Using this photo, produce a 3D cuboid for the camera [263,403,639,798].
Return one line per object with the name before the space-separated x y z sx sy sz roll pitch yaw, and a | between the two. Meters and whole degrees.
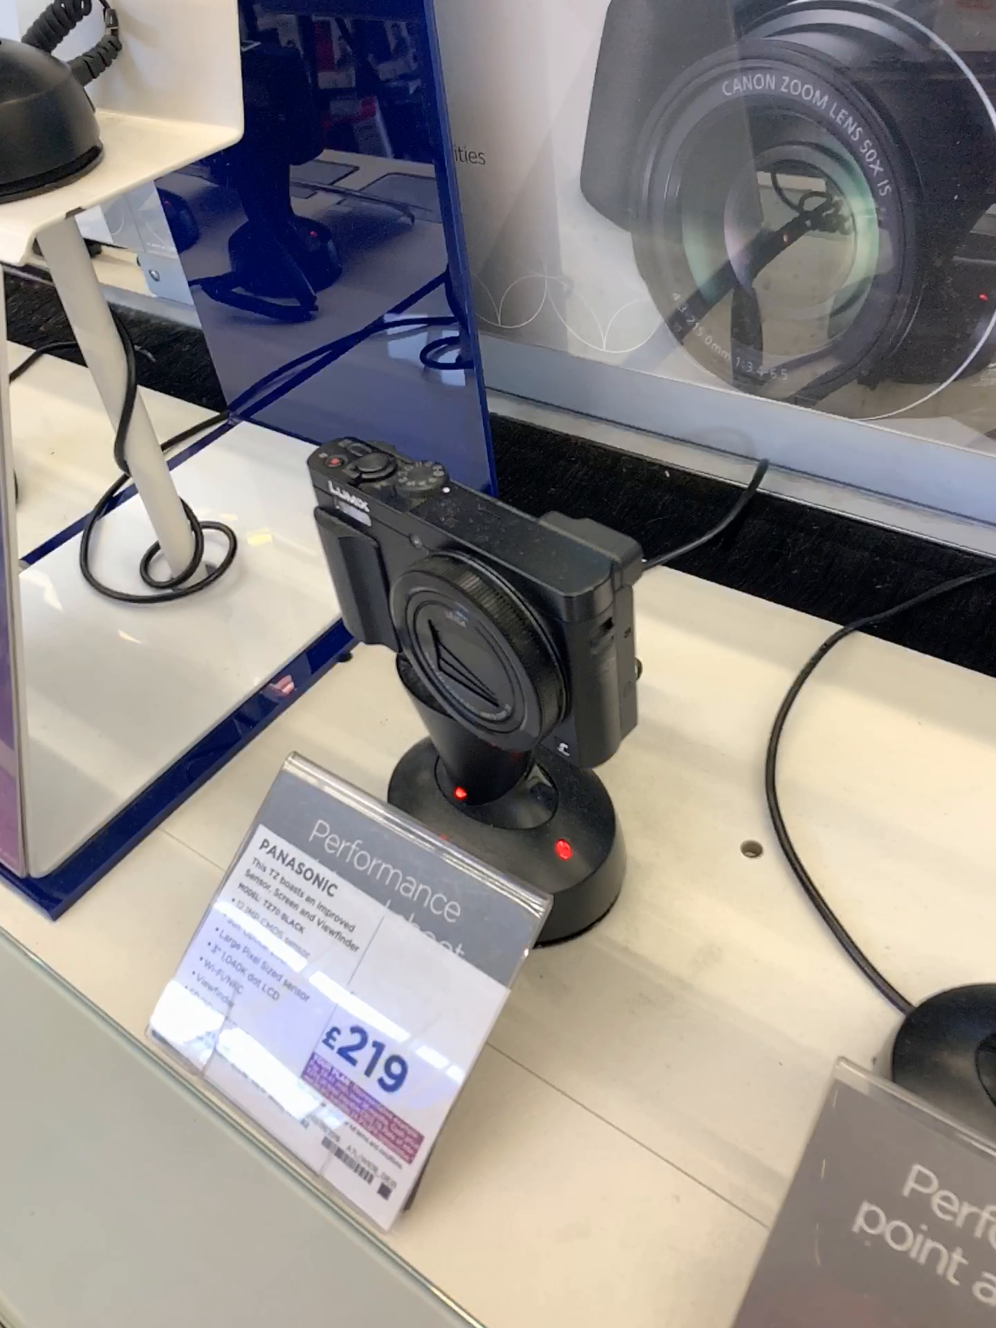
camera | -0.013 -0.021 0.290 0.111 0.069 0.030 31 56 34
